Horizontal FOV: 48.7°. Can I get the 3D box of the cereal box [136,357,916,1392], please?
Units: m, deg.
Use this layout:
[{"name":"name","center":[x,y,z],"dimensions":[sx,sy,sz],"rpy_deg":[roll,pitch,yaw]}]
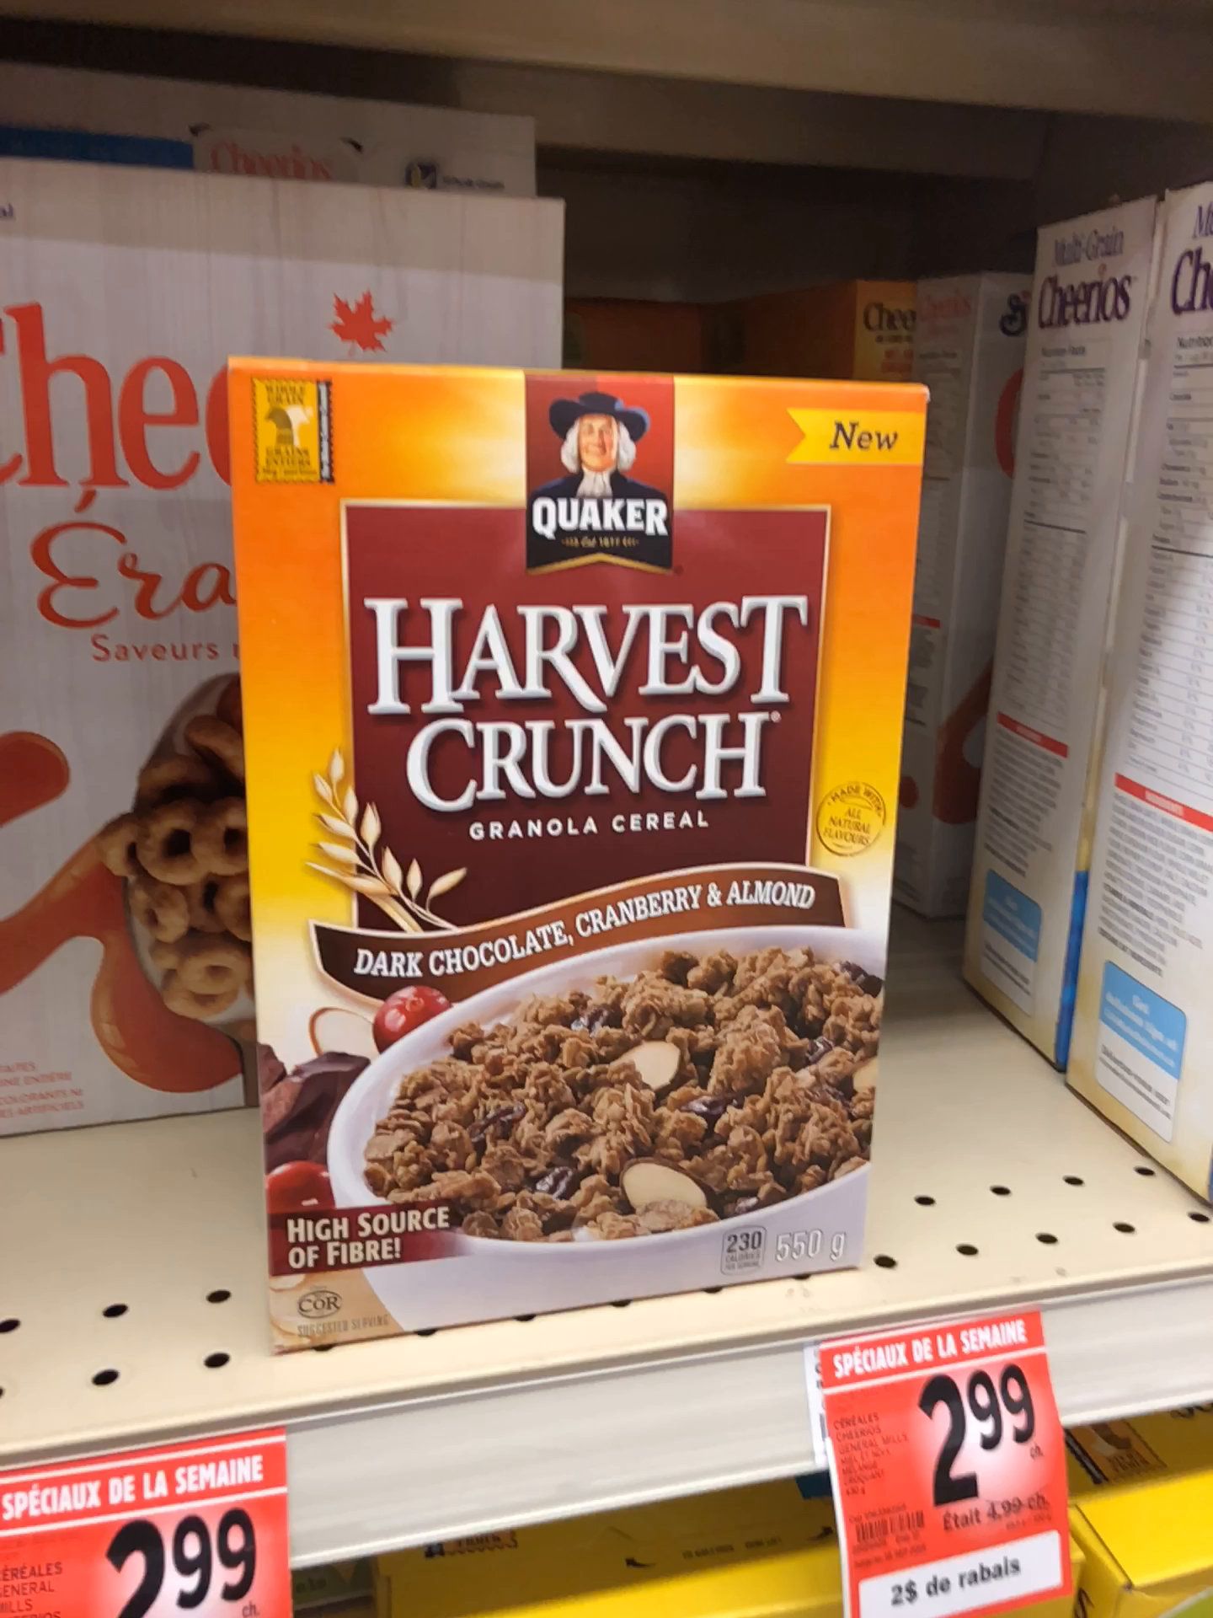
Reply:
[{"name":"cereal box","center":[-0.021,0.014,0.345],"dimensions":[0.170,0.239,0.060],"rpy_deg":[-3,15,-15]}]
